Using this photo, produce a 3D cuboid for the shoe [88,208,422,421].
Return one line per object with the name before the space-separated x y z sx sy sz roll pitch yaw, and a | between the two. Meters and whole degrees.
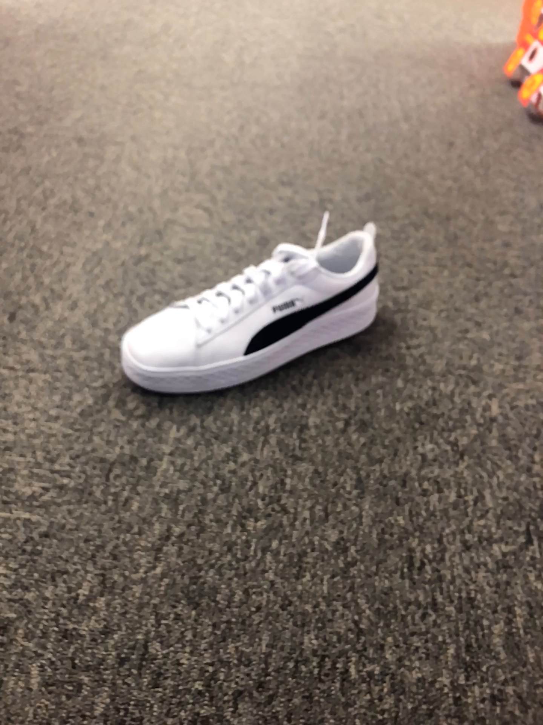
shoe | -0.013 -0.056 0.595 0.291 0.089 0.110 -17 46 -18
